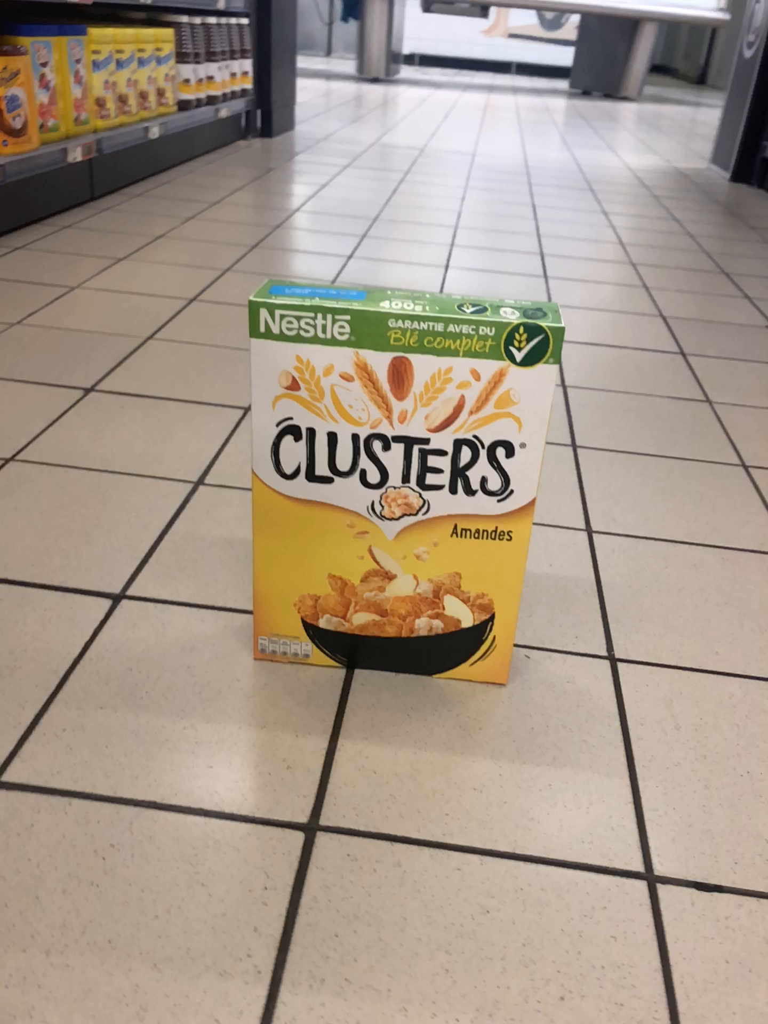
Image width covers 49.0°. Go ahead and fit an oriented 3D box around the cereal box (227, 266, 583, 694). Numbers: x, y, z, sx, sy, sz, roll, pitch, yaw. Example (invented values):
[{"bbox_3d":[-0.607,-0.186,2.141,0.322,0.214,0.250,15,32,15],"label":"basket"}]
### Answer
[{"bbox_3d":[0.006,-0.014,0.586,0.210,0.278,0.060,6,28,4],"label":"cereal box"}]
